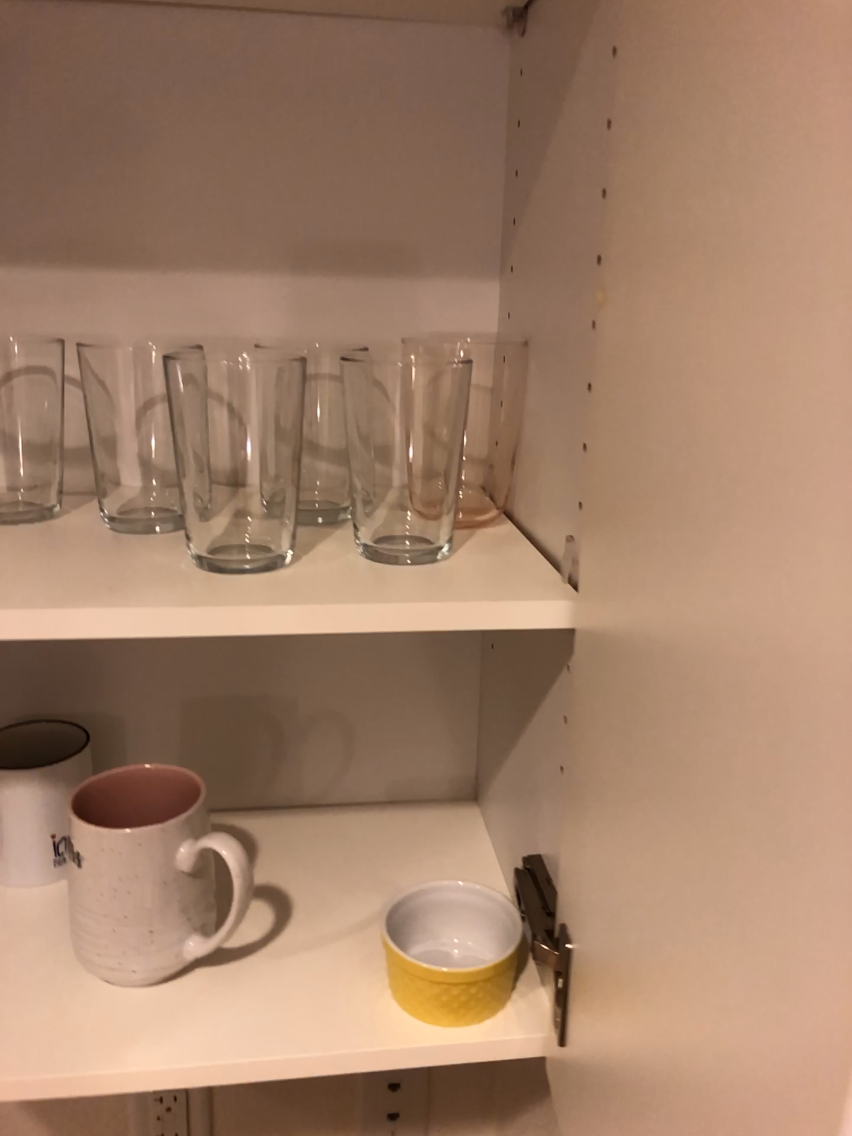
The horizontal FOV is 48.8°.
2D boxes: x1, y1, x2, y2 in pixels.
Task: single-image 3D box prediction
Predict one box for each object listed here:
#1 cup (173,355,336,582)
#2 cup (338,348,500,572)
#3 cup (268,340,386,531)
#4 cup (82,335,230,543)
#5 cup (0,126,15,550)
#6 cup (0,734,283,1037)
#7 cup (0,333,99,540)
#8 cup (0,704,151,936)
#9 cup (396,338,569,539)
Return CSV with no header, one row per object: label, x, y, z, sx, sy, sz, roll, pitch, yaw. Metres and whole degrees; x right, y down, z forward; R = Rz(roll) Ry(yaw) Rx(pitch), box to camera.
cup,-0.096,-0.060,0.525,0.080,0.110,0.090,-2,16,-13
cup,-0.008,-0.067,0.563,0.080,0.120,0.080,1,15,0
cup,-0.070,-0.094,0.650,0.070,0.120,0.080,-2,16,-13
cup,-0.170,-0.087,0.606,0.080,0.120,0.090,-2,16,-13
cup,-0.361,-0.151,0.645,0.110,0.259,0.090,-2,15,-13
cup,-0.172,0.185,0.574,0.140,0.110,0.090,9,17,26
cup,-0.278,-0.094,0.653,0.080,0.129,0.090,-2,16,-13
cup,-0.288,0.175,0.686,0.090,0.090,0.140,11,18,32
cup,0.033,-0.091,0.636,0.090,0.120,0.100,-2,16,-11
